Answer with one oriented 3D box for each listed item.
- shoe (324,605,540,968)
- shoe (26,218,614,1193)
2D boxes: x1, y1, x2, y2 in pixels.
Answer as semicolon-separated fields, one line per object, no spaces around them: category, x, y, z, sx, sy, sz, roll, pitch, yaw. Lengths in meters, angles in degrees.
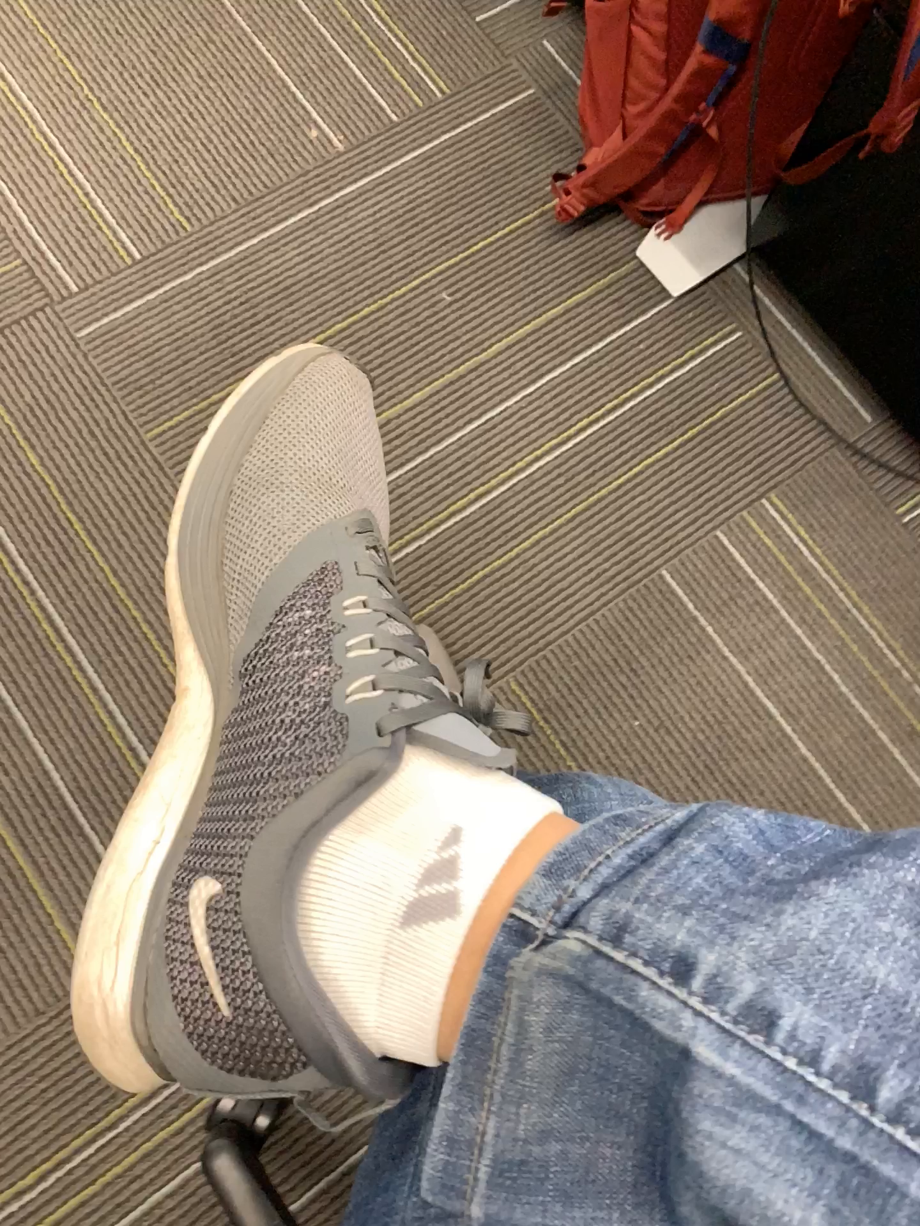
shoe;-0.030;0.153;0.862;0.116;0.074;0.293;-14;77;-8
shoe;-0.034;0.027;0.358;0.142;0.115;0.294;-5;68;28
